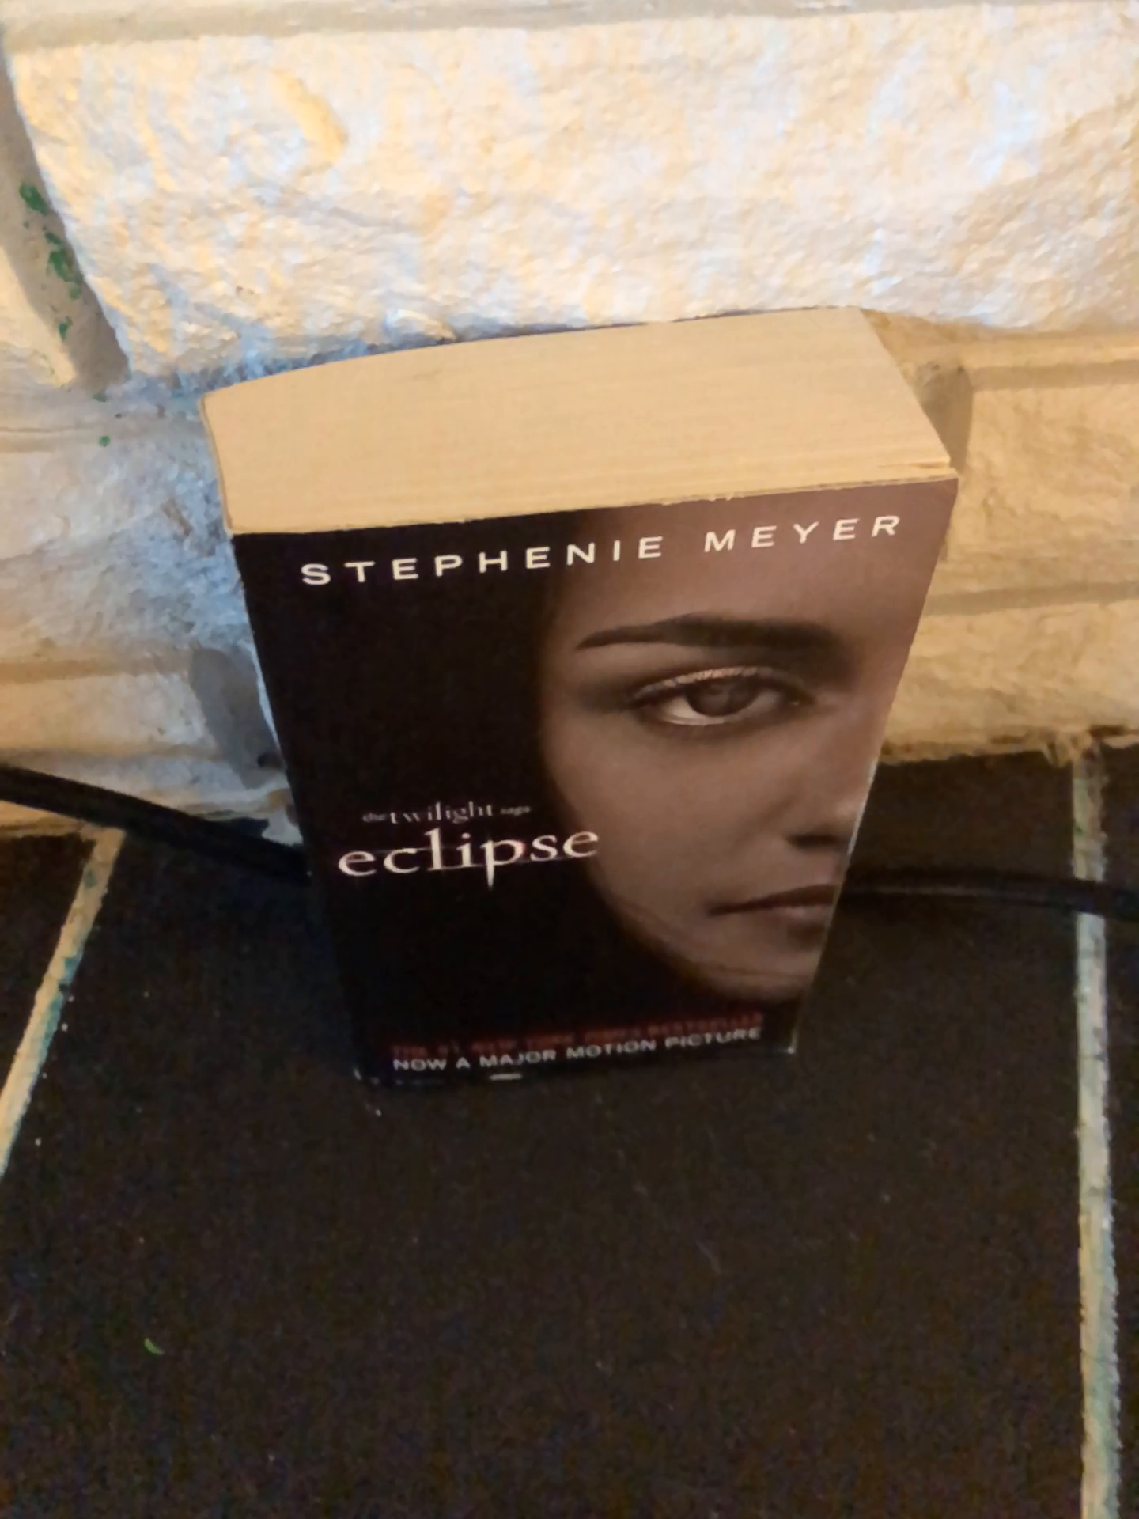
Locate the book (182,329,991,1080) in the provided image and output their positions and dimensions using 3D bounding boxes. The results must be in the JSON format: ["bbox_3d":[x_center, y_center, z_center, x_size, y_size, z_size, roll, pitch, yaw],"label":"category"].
[{"bbox_3d":[0.002,0.007,0.251,0.106,0.181,0.042,-1,54,-1],"label":"book"}]
